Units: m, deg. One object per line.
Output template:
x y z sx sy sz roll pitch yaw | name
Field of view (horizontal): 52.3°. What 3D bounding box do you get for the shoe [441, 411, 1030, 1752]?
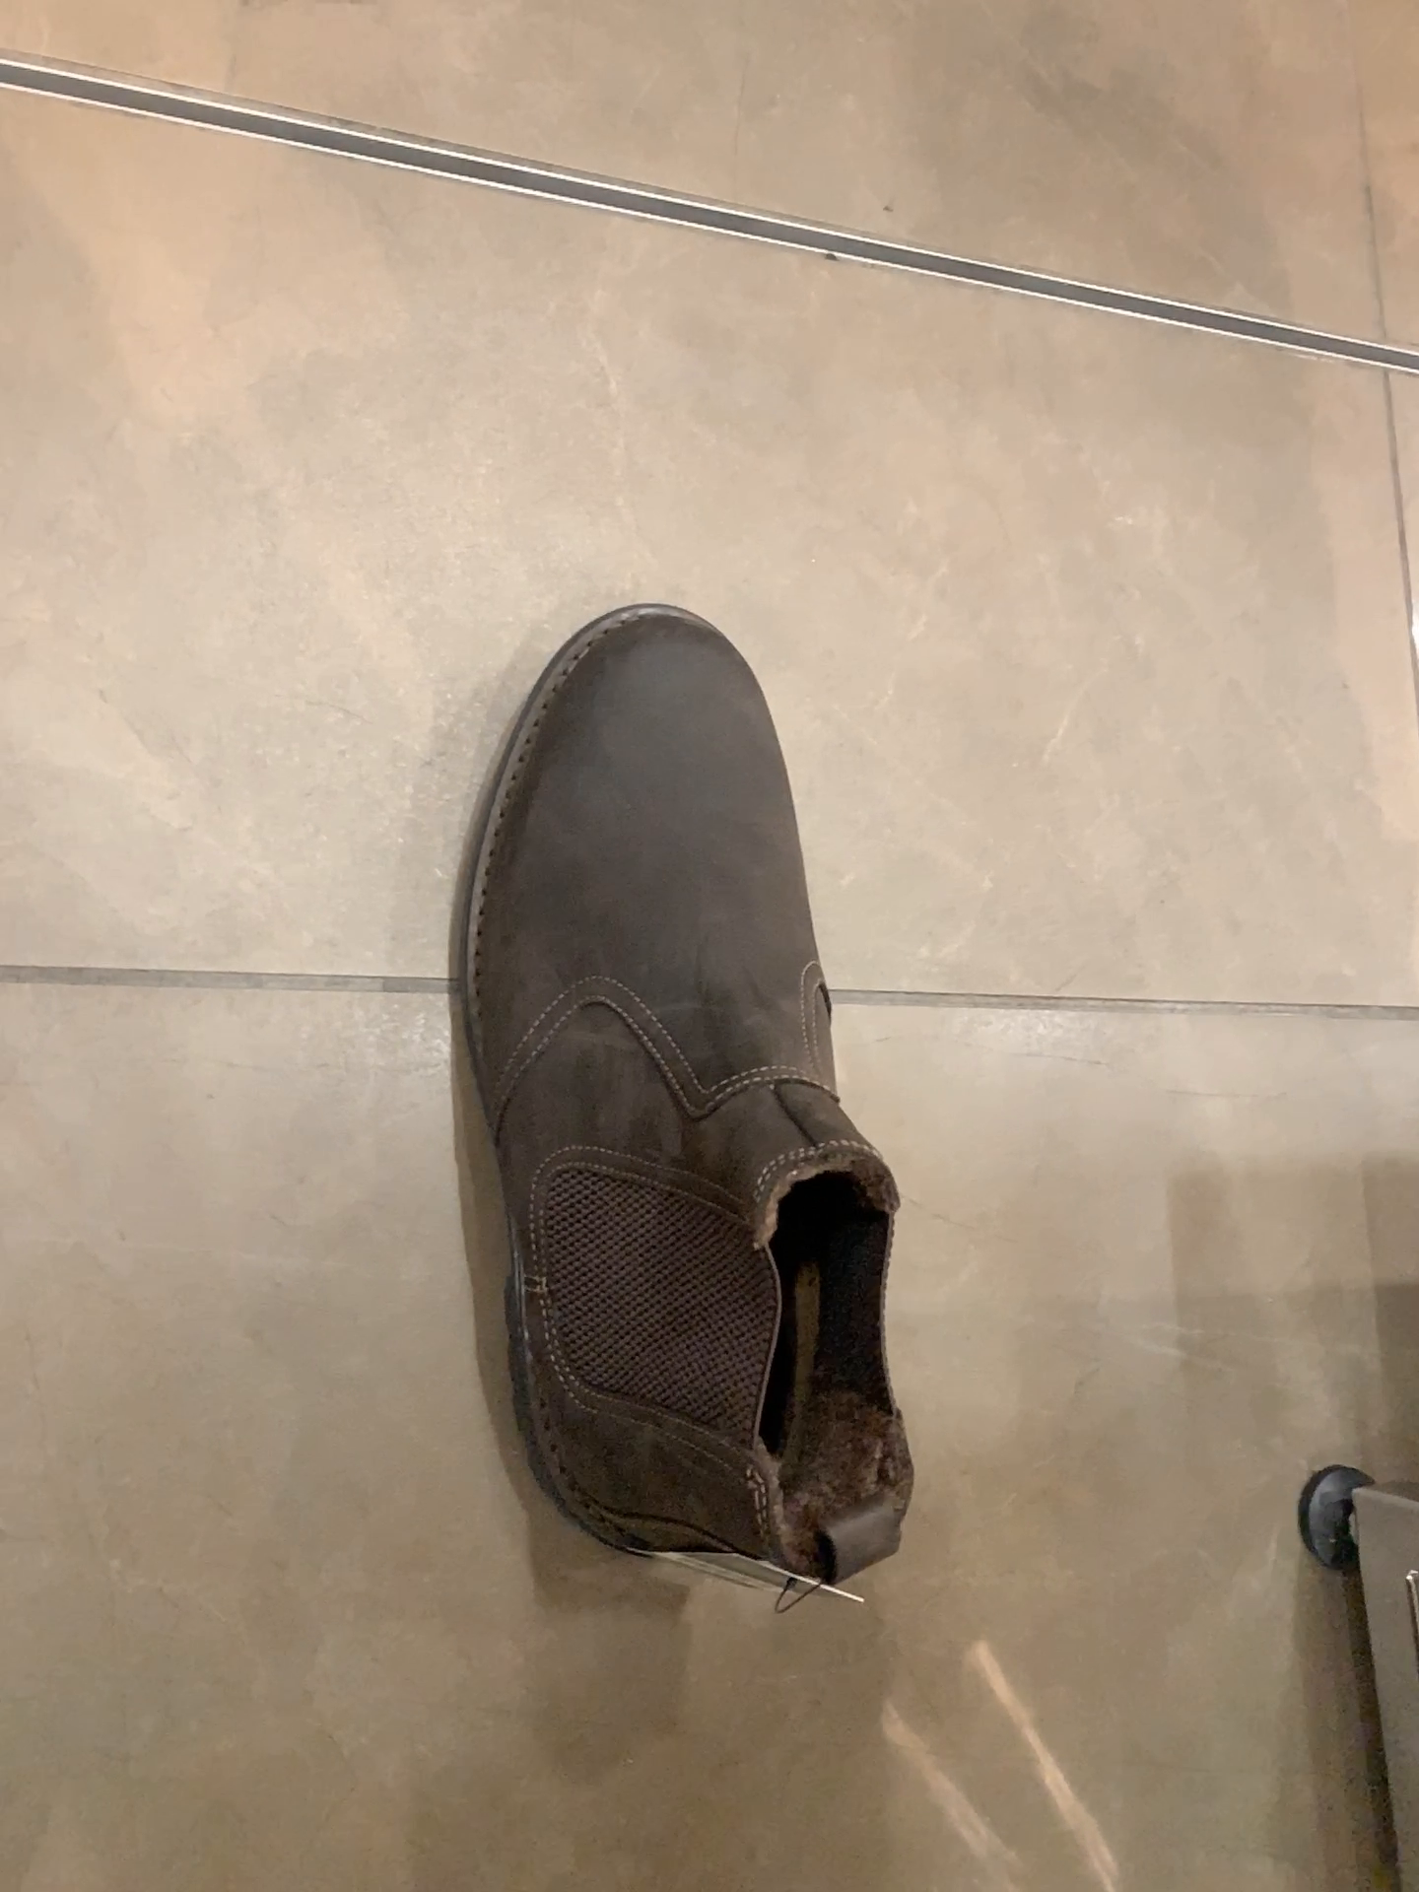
-0.005 0.035 0.423 0.114 0.166 0.304 3 79 -18 | shoe
